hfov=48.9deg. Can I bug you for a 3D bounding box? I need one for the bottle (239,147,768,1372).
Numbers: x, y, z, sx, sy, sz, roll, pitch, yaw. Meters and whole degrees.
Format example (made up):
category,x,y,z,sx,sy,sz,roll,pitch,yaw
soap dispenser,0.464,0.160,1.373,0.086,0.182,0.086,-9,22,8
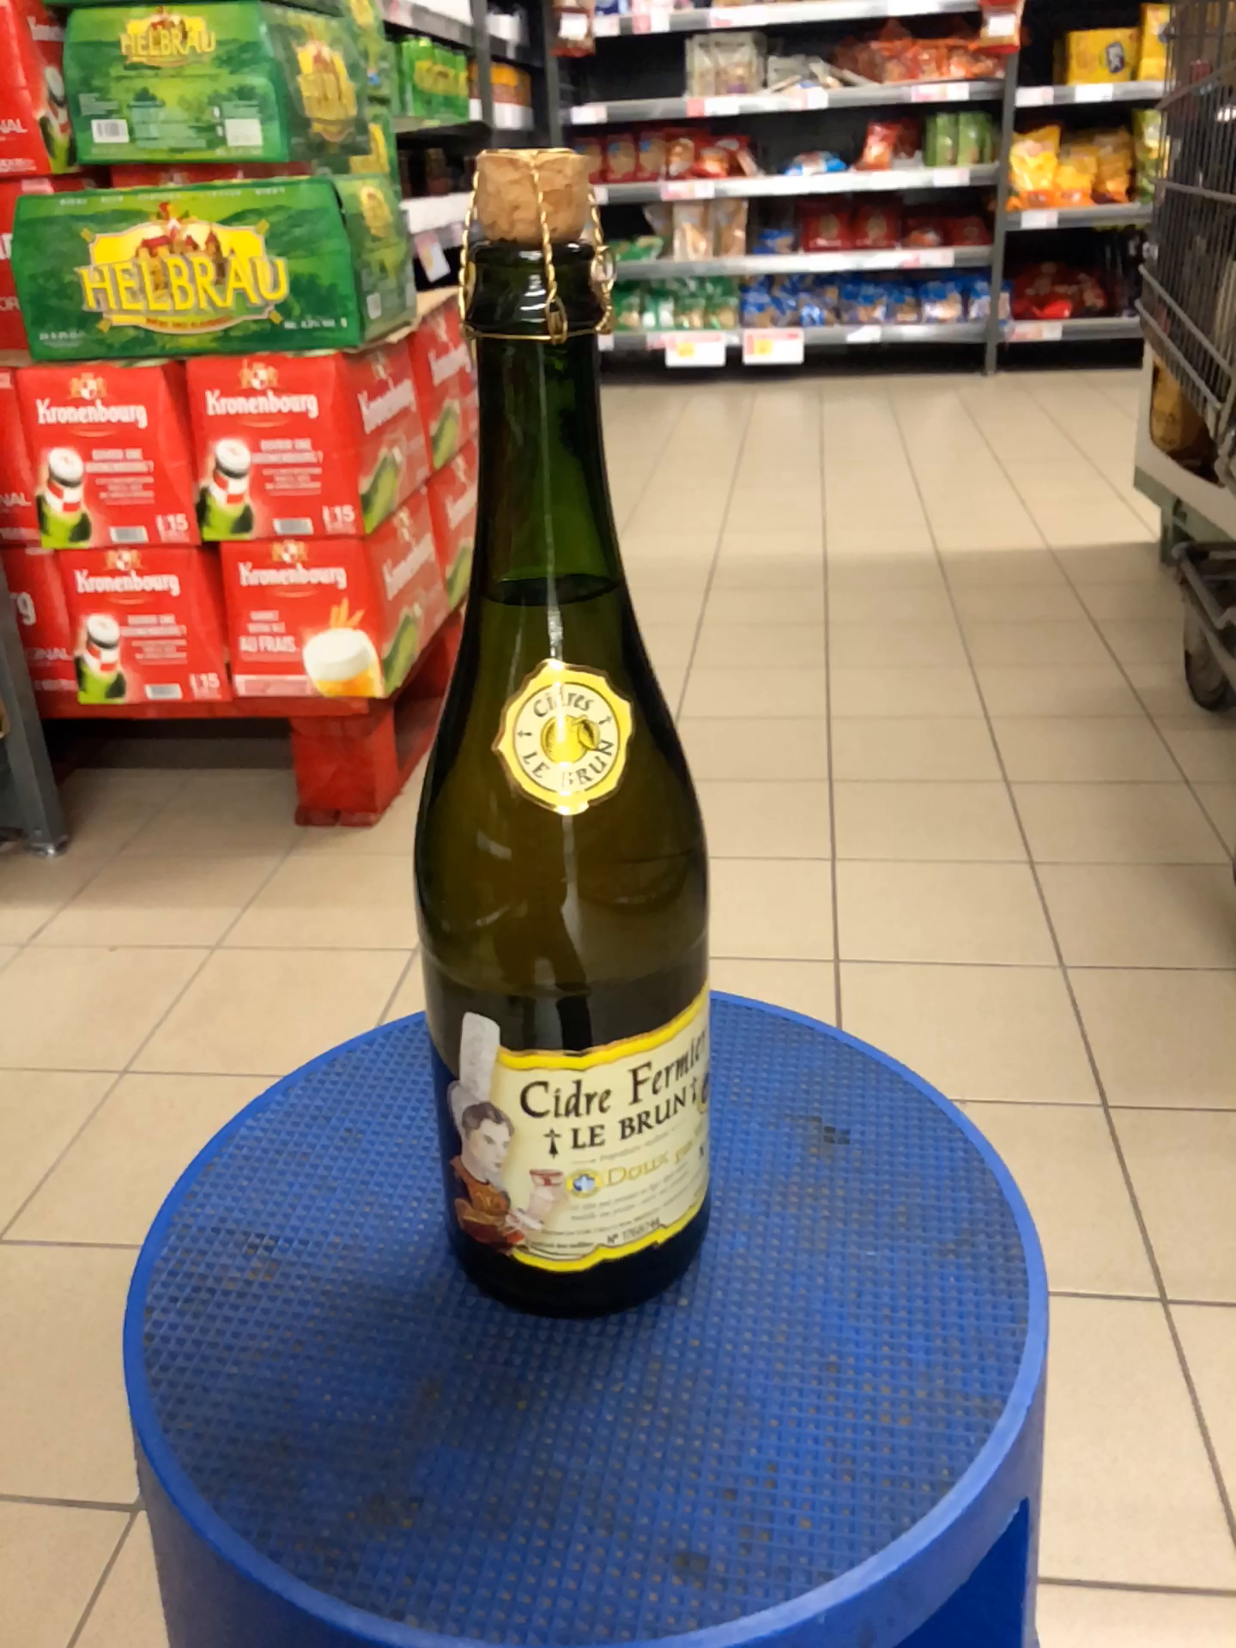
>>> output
category,x,y,z,sx,sy,sz,roll,pitch,yaw
bottle,-0.022,-0.012,0.364,0.090,0.298,0.090,-3,25,1
